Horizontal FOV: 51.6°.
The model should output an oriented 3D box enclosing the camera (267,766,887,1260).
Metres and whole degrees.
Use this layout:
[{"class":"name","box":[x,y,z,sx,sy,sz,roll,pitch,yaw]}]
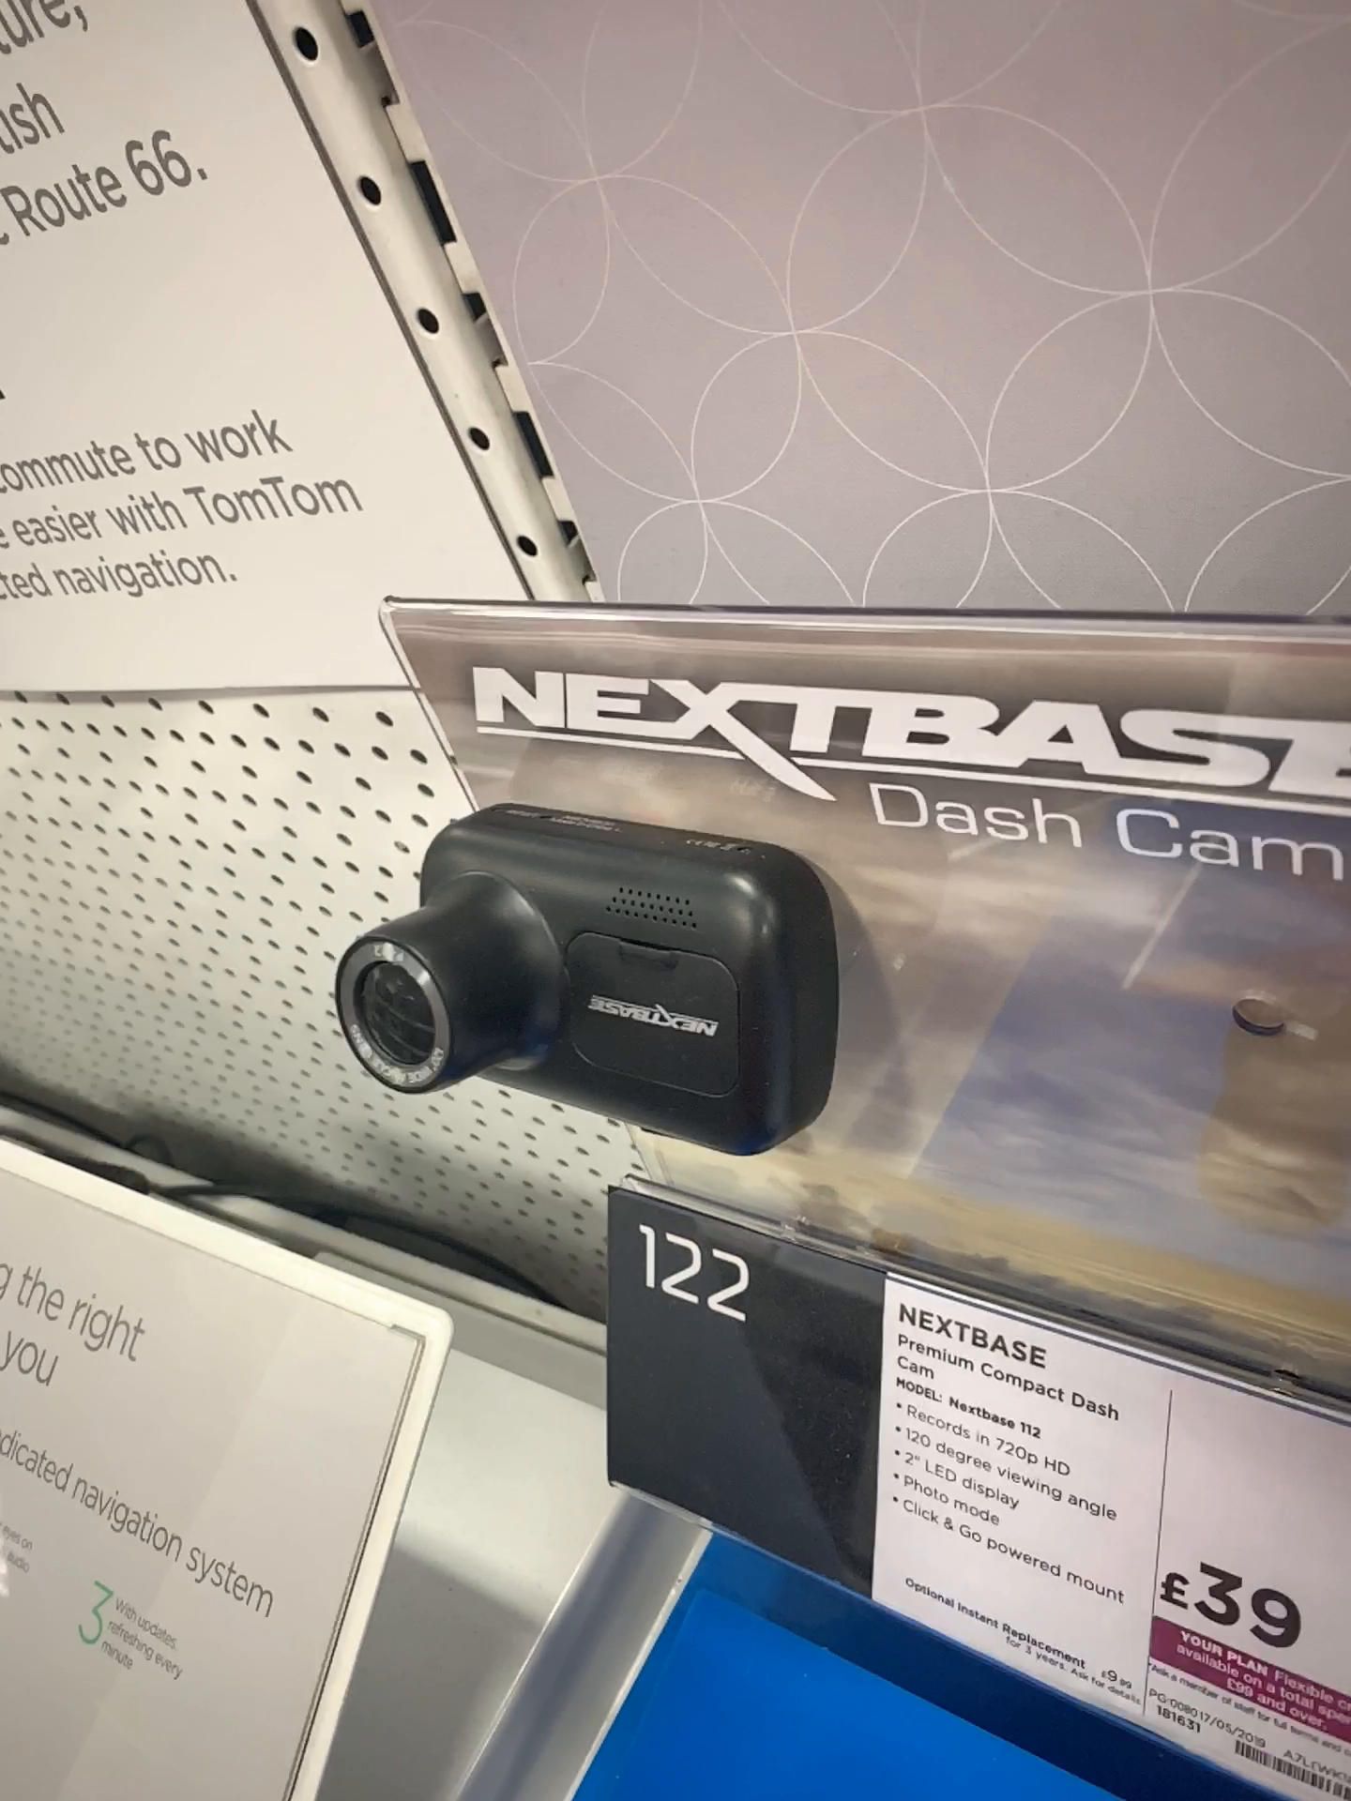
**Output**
[{"class":"camera","box":[-0.016,0.012,0.232,0.080,0.050,0.060,12,21,38]}]
